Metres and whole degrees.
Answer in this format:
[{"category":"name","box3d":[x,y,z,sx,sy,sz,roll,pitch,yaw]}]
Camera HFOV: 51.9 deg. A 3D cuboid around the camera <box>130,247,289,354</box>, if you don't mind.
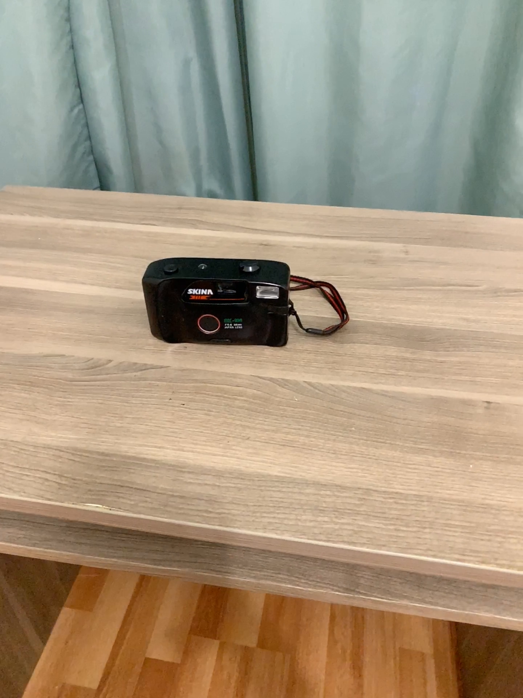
[{"category":"camera","box3d":[-0.039,-0.040,0.445,0.120,0.069,0.046,3,37,2]}]
